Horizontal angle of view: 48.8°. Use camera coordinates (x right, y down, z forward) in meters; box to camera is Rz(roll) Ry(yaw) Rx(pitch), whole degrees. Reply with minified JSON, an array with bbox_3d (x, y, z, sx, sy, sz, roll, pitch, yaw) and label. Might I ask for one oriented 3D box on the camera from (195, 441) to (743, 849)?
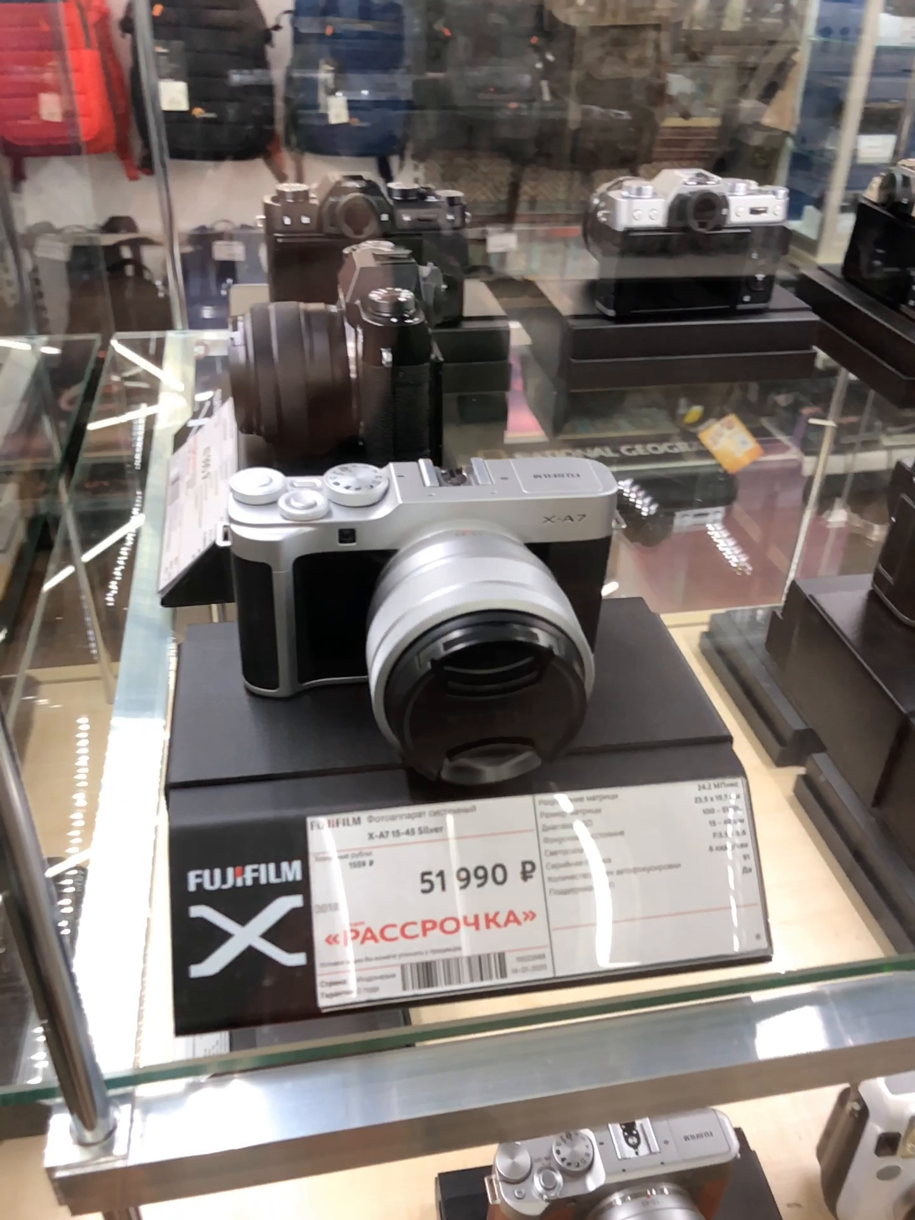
[{"bbox_3d":[-0.004,0.004,0.300,0.133,0.066,0.101,-4,34,-9],"label":"camera"}]
